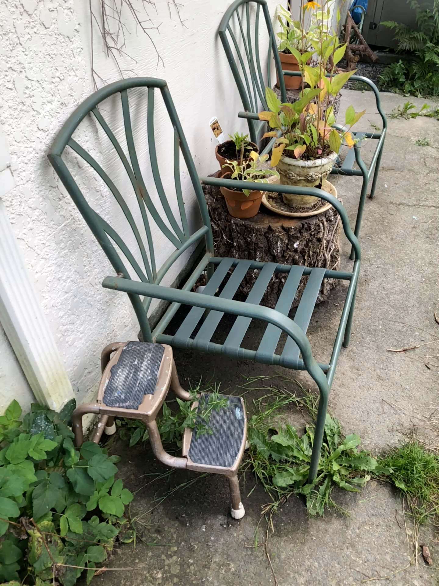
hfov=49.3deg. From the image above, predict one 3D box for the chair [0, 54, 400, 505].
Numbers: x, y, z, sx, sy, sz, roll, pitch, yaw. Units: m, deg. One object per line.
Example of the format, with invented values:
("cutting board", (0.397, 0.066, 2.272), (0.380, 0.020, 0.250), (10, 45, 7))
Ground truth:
("chair", (0.012, -0.052, 1.283), (0.681, 0.904, 0.624), (12, 41, 15))
